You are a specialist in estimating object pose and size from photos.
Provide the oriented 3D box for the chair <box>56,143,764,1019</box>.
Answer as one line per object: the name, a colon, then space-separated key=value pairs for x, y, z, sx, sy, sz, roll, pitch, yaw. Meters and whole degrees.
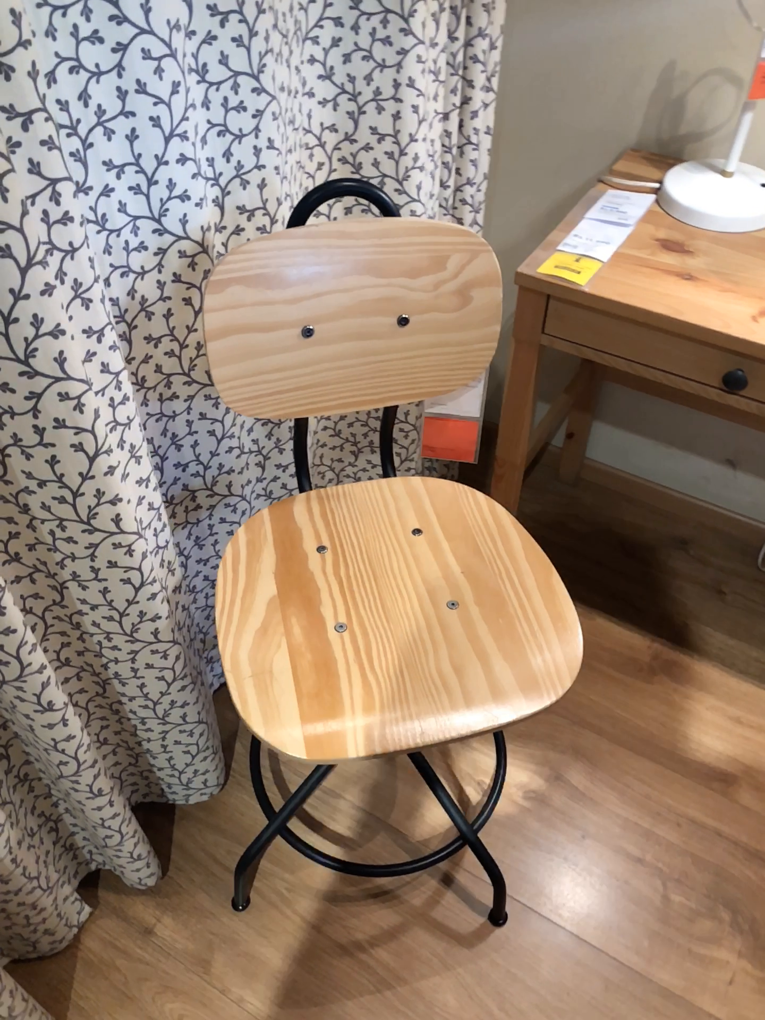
chair: x=0.005 y=0.121 z=0.976 sx=0.520 sy=0.815 sz=0.553 roll=-11 pitch=46 yaw=-10
